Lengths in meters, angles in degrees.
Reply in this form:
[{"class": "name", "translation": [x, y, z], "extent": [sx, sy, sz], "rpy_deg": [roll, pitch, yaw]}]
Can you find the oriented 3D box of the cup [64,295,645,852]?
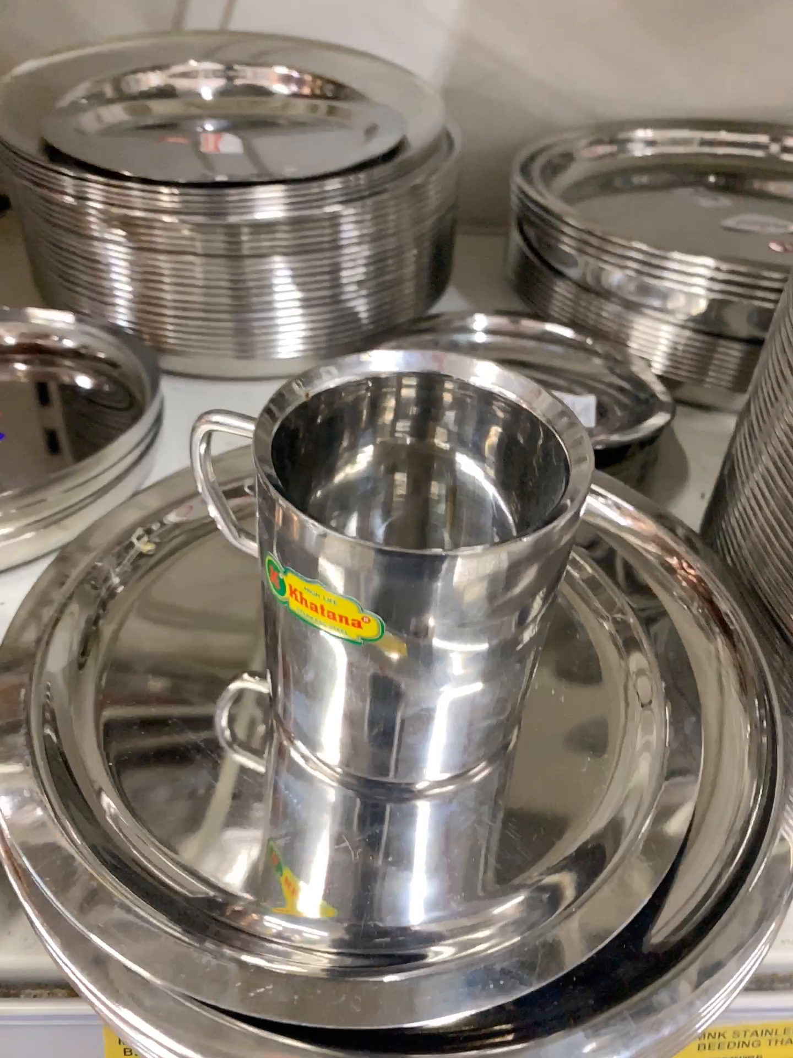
[{"class": "cup", "translation": [-0.006, 0.007, 0.218], "extent": [0.110, 0.090, 0.080], "rpy_deg": [17, 42, 15]}]
